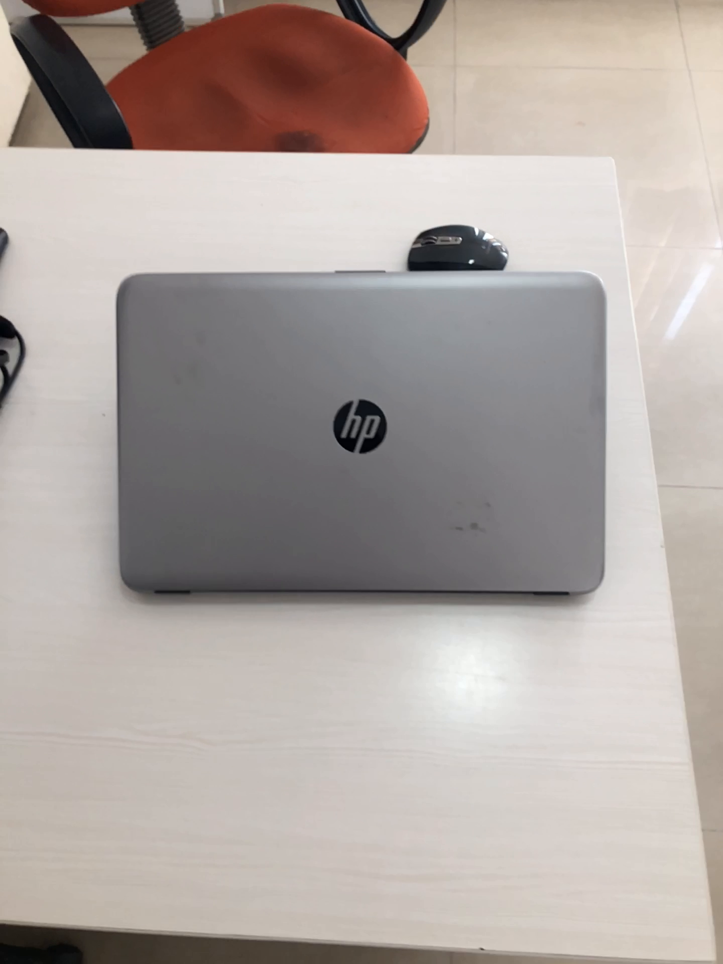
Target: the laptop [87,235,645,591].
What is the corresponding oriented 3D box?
[{"bbox_3d":[0.000,-0.054,0.635,0.369,0.120,0.252,0,64,2],"label":"laptop"}]
